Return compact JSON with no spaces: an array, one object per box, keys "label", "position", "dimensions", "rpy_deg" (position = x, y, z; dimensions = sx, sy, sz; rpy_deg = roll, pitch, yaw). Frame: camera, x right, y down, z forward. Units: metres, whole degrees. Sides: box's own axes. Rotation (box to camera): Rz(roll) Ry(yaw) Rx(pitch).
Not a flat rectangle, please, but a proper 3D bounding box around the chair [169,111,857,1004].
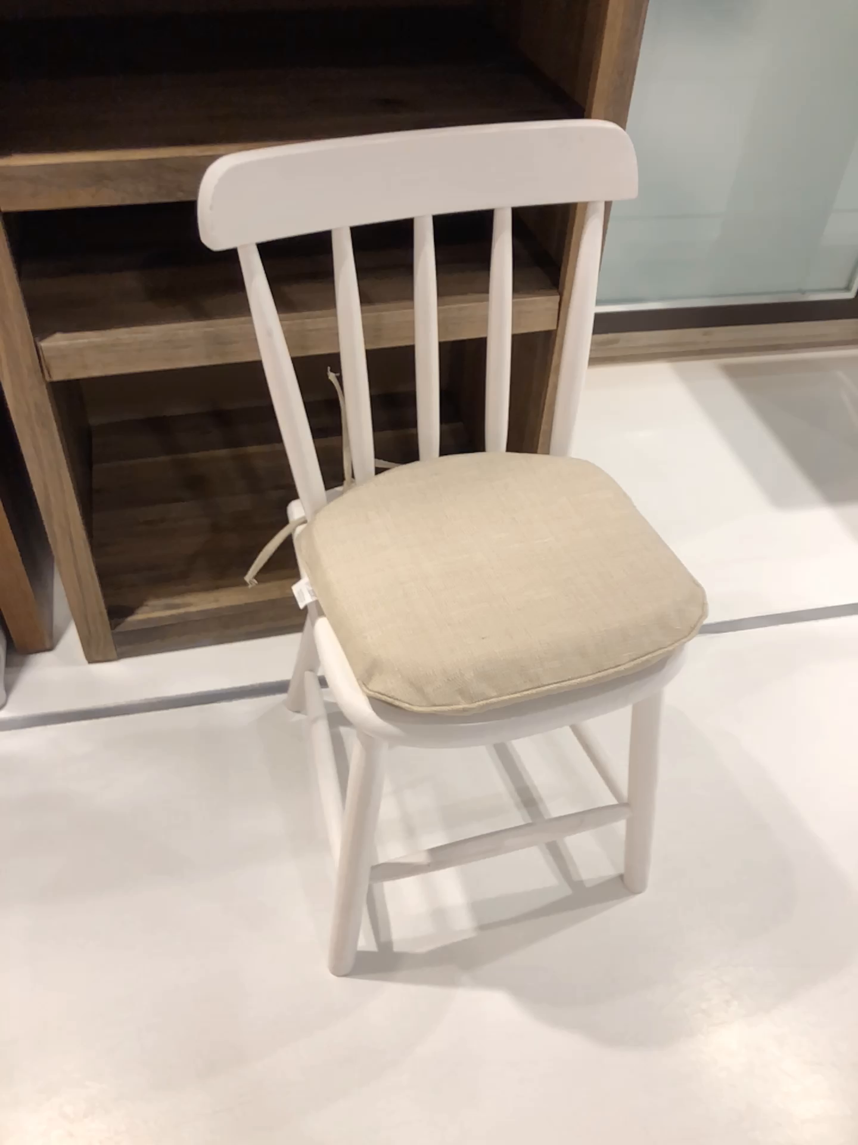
[{"label":"chair","position":[0.035,-0.003,0.979],"dimensions":[0.450,0.725,0.483],"rpy_deg":[-10,45,-14]}]
